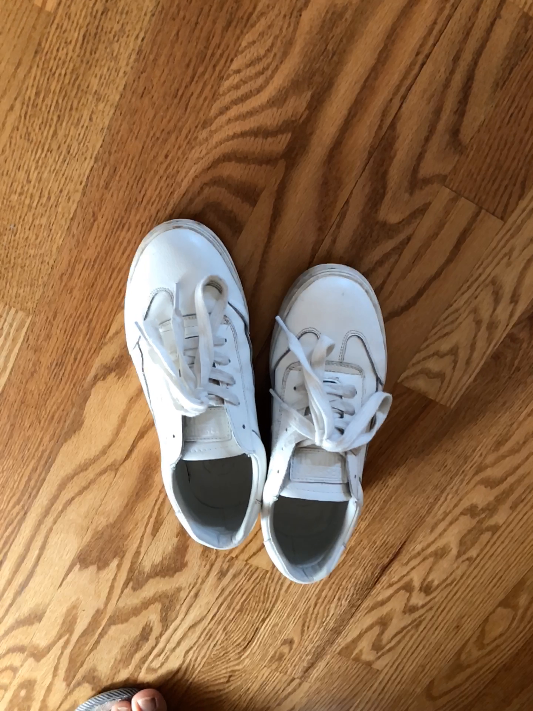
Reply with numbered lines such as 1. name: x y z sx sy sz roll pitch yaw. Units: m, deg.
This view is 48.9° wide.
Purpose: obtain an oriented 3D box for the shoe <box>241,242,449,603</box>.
1. shoe: 0.046 0.055 0.470 0.102 0.107 0.260 6 112 -5

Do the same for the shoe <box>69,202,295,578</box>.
1. shoe: -0.051 0.028 0.457 0.102 0.104 0.260 -10 113 2
